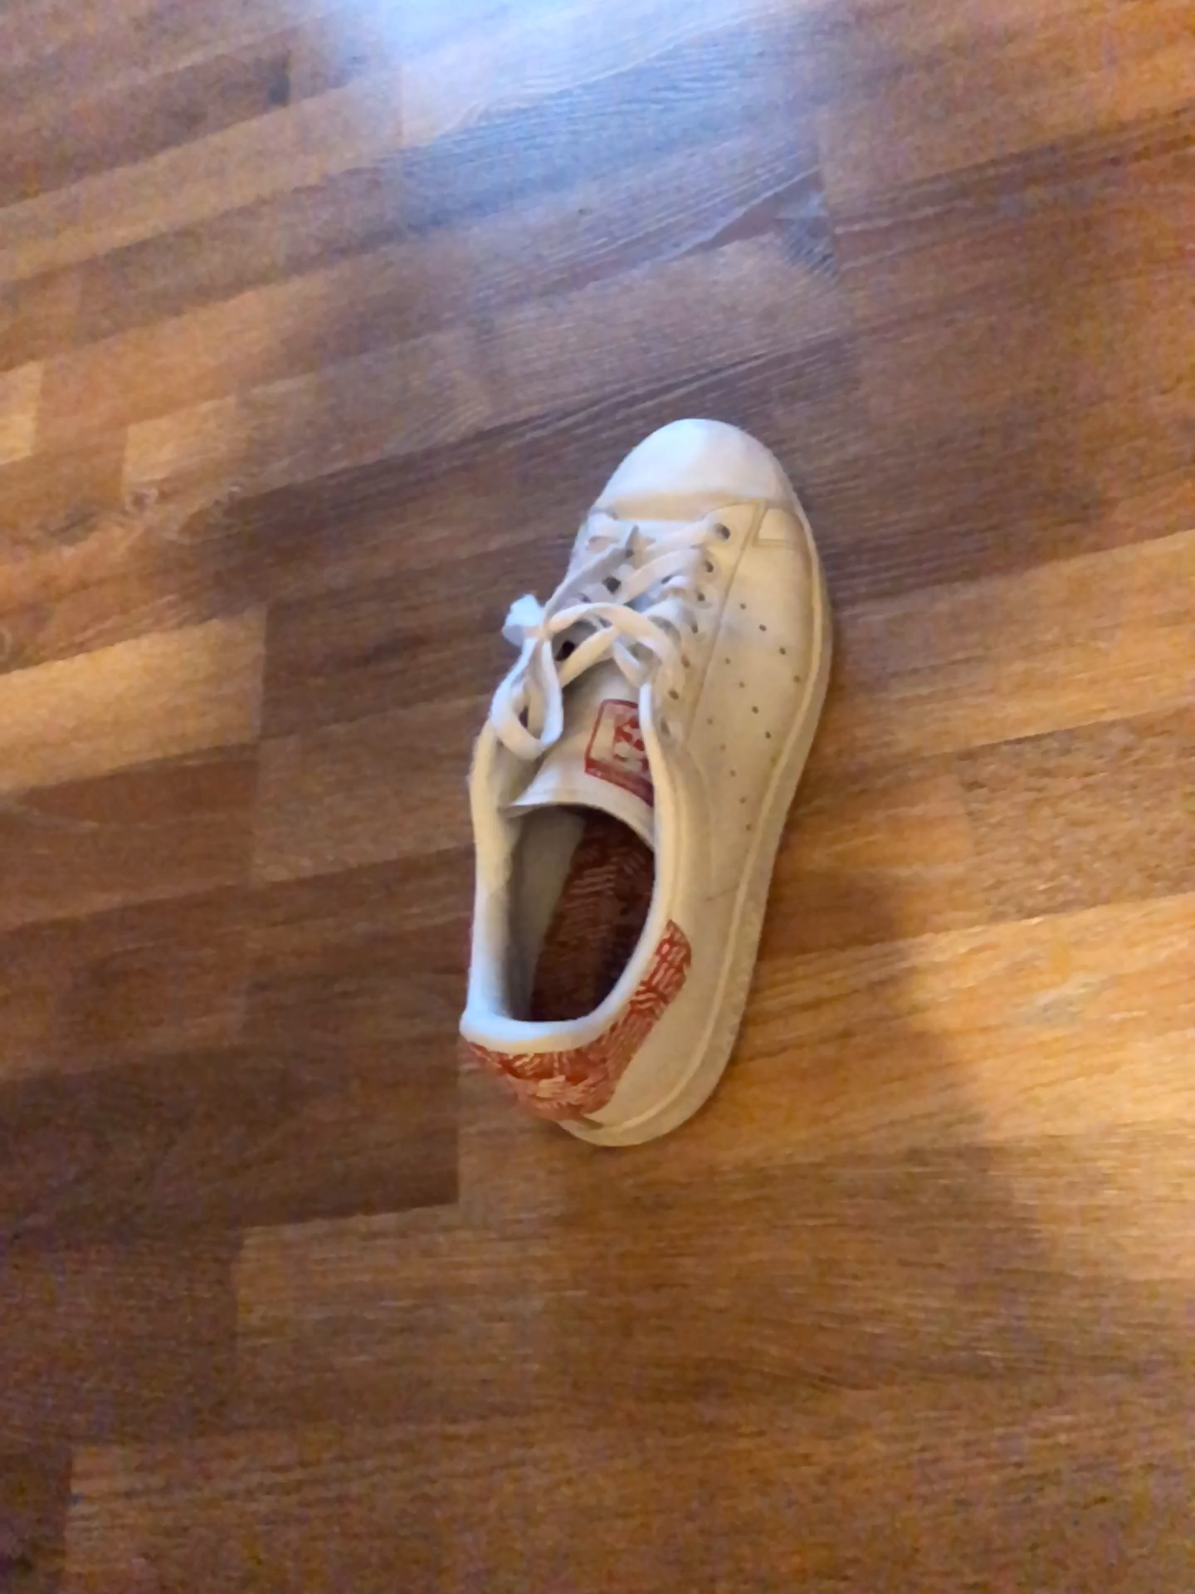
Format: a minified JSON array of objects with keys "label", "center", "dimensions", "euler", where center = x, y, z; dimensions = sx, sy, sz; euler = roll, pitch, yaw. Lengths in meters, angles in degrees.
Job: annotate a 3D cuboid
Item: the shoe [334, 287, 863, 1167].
[{"label":"shoe","center":[0.015,-0.023,0.428],"dimensions":[0.100,0.110,0.251],"euler":[2,67,21]}]
